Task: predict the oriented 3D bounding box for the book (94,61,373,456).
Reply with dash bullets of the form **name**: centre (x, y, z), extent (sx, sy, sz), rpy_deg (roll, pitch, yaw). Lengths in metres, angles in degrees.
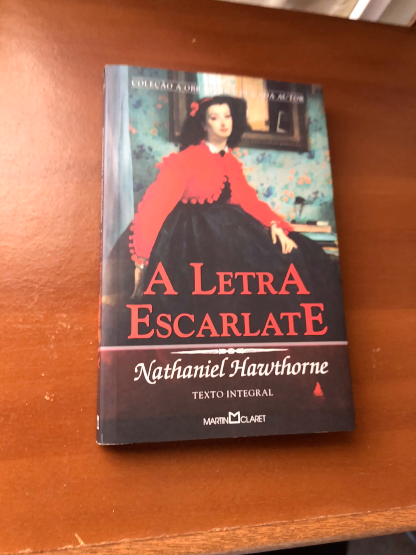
- **book**: centre (0.009, -0.013, 0.208), extent (0.112, 0.015, 0.166), rpy_deg (1, 77, -10)
